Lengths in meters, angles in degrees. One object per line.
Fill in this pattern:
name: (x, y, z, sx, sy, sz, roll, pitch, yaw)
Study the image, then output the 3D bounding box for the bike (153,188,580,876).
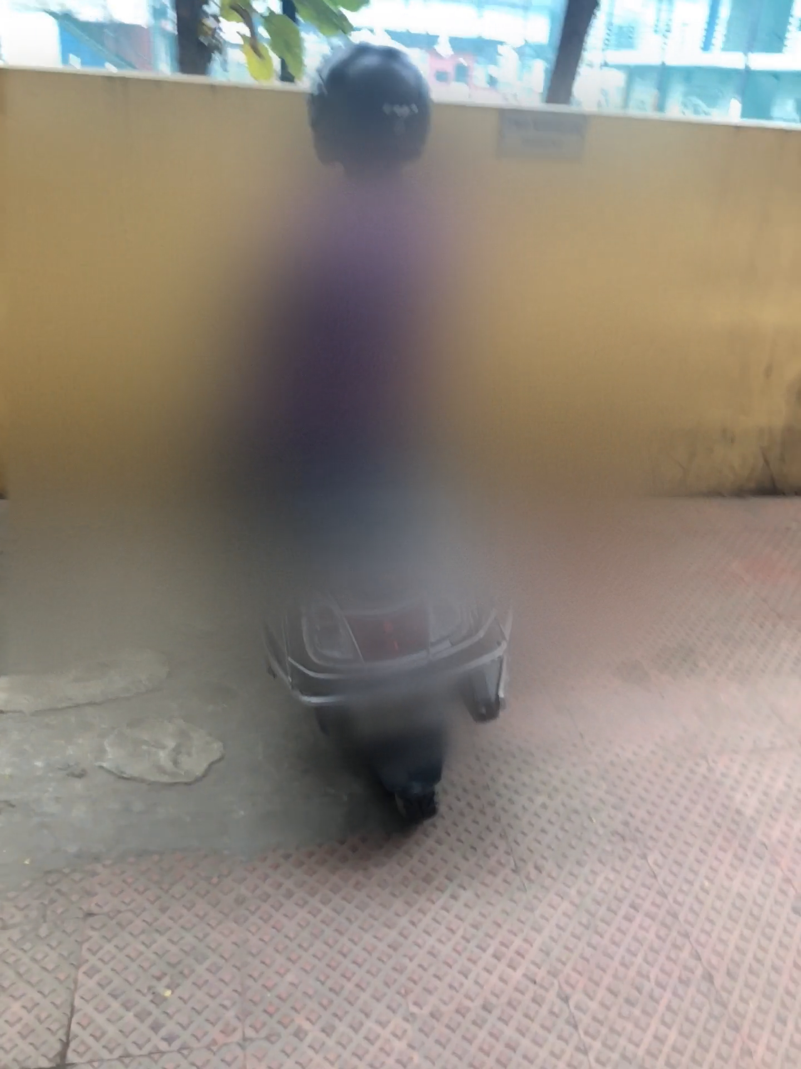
bike: (-0.293, -0.188, 2.425, 0.643, 1.182, 1.724, -3, 29, -15)
